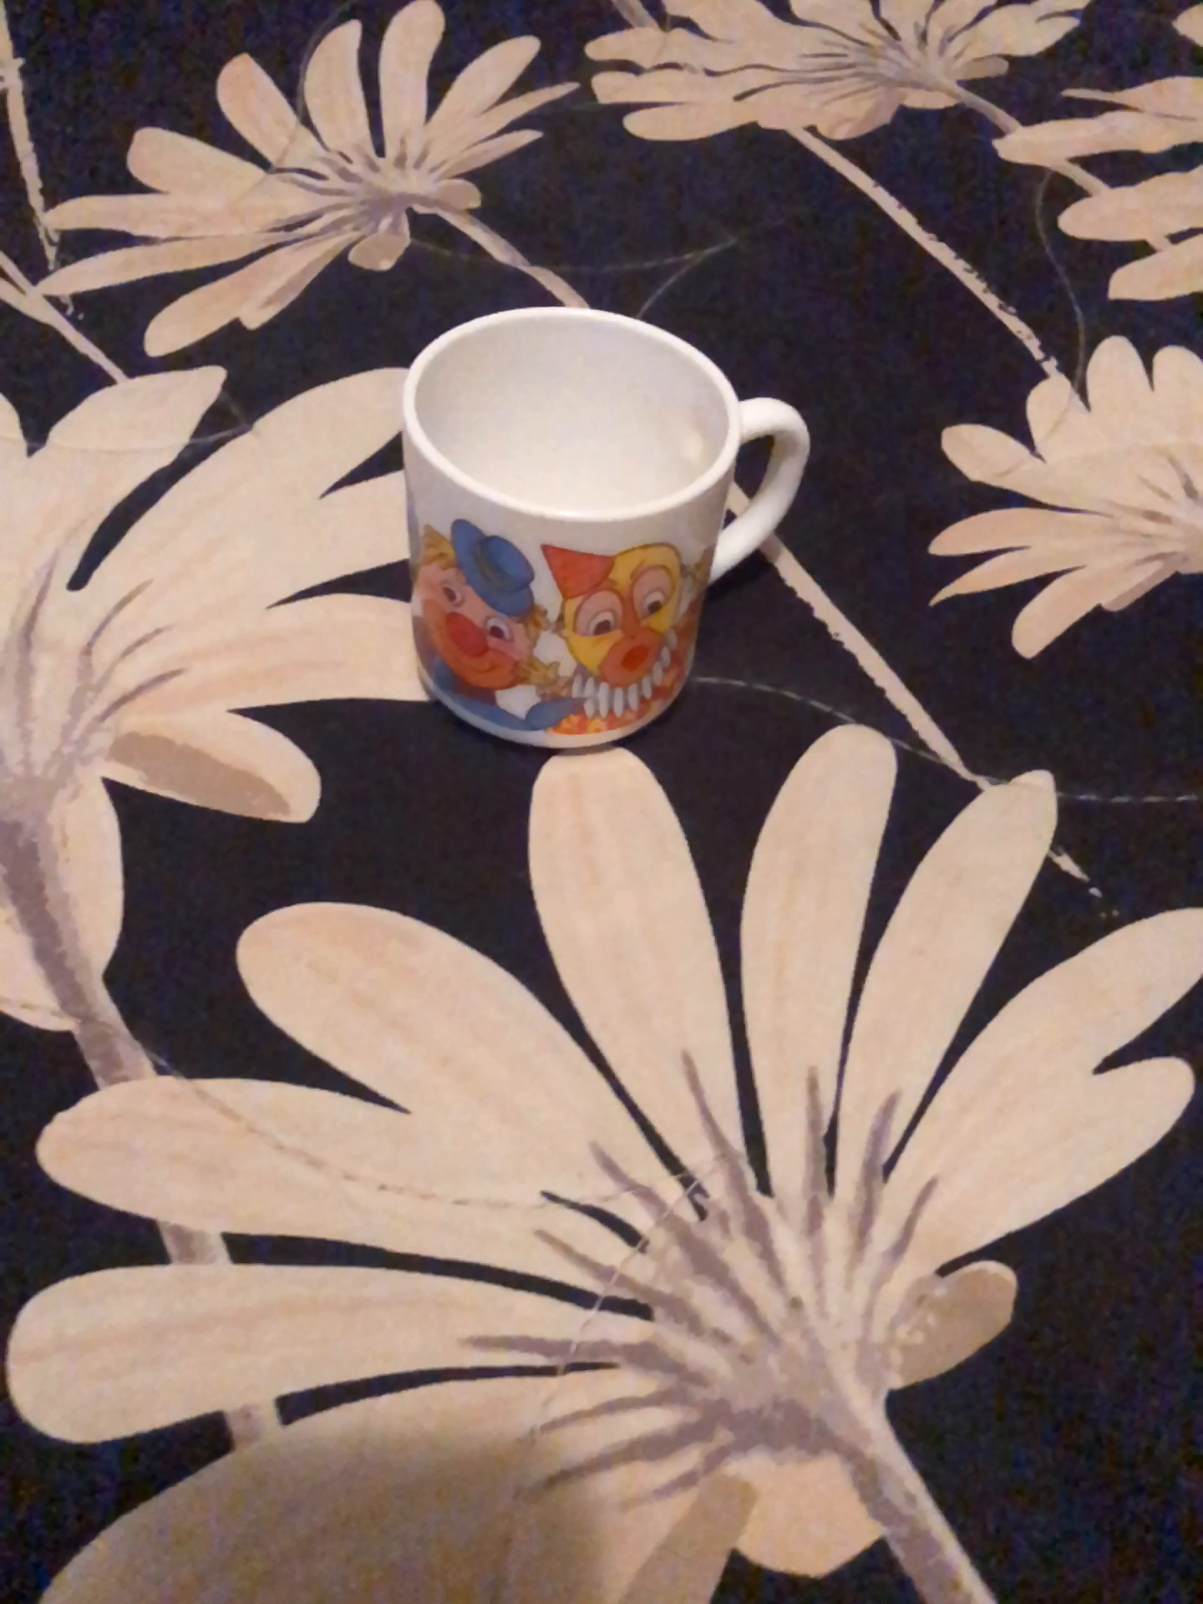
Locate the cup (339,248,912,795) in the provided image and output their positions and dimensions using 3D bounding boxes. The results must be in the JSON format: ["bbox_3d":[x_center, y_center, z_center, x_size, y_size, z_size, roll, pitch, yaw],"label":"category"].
[{"bbox_3d":[0.002,-0.071,0.332,0.108,0.077,0.085,-15,54,-11],"label":"cup"}]
